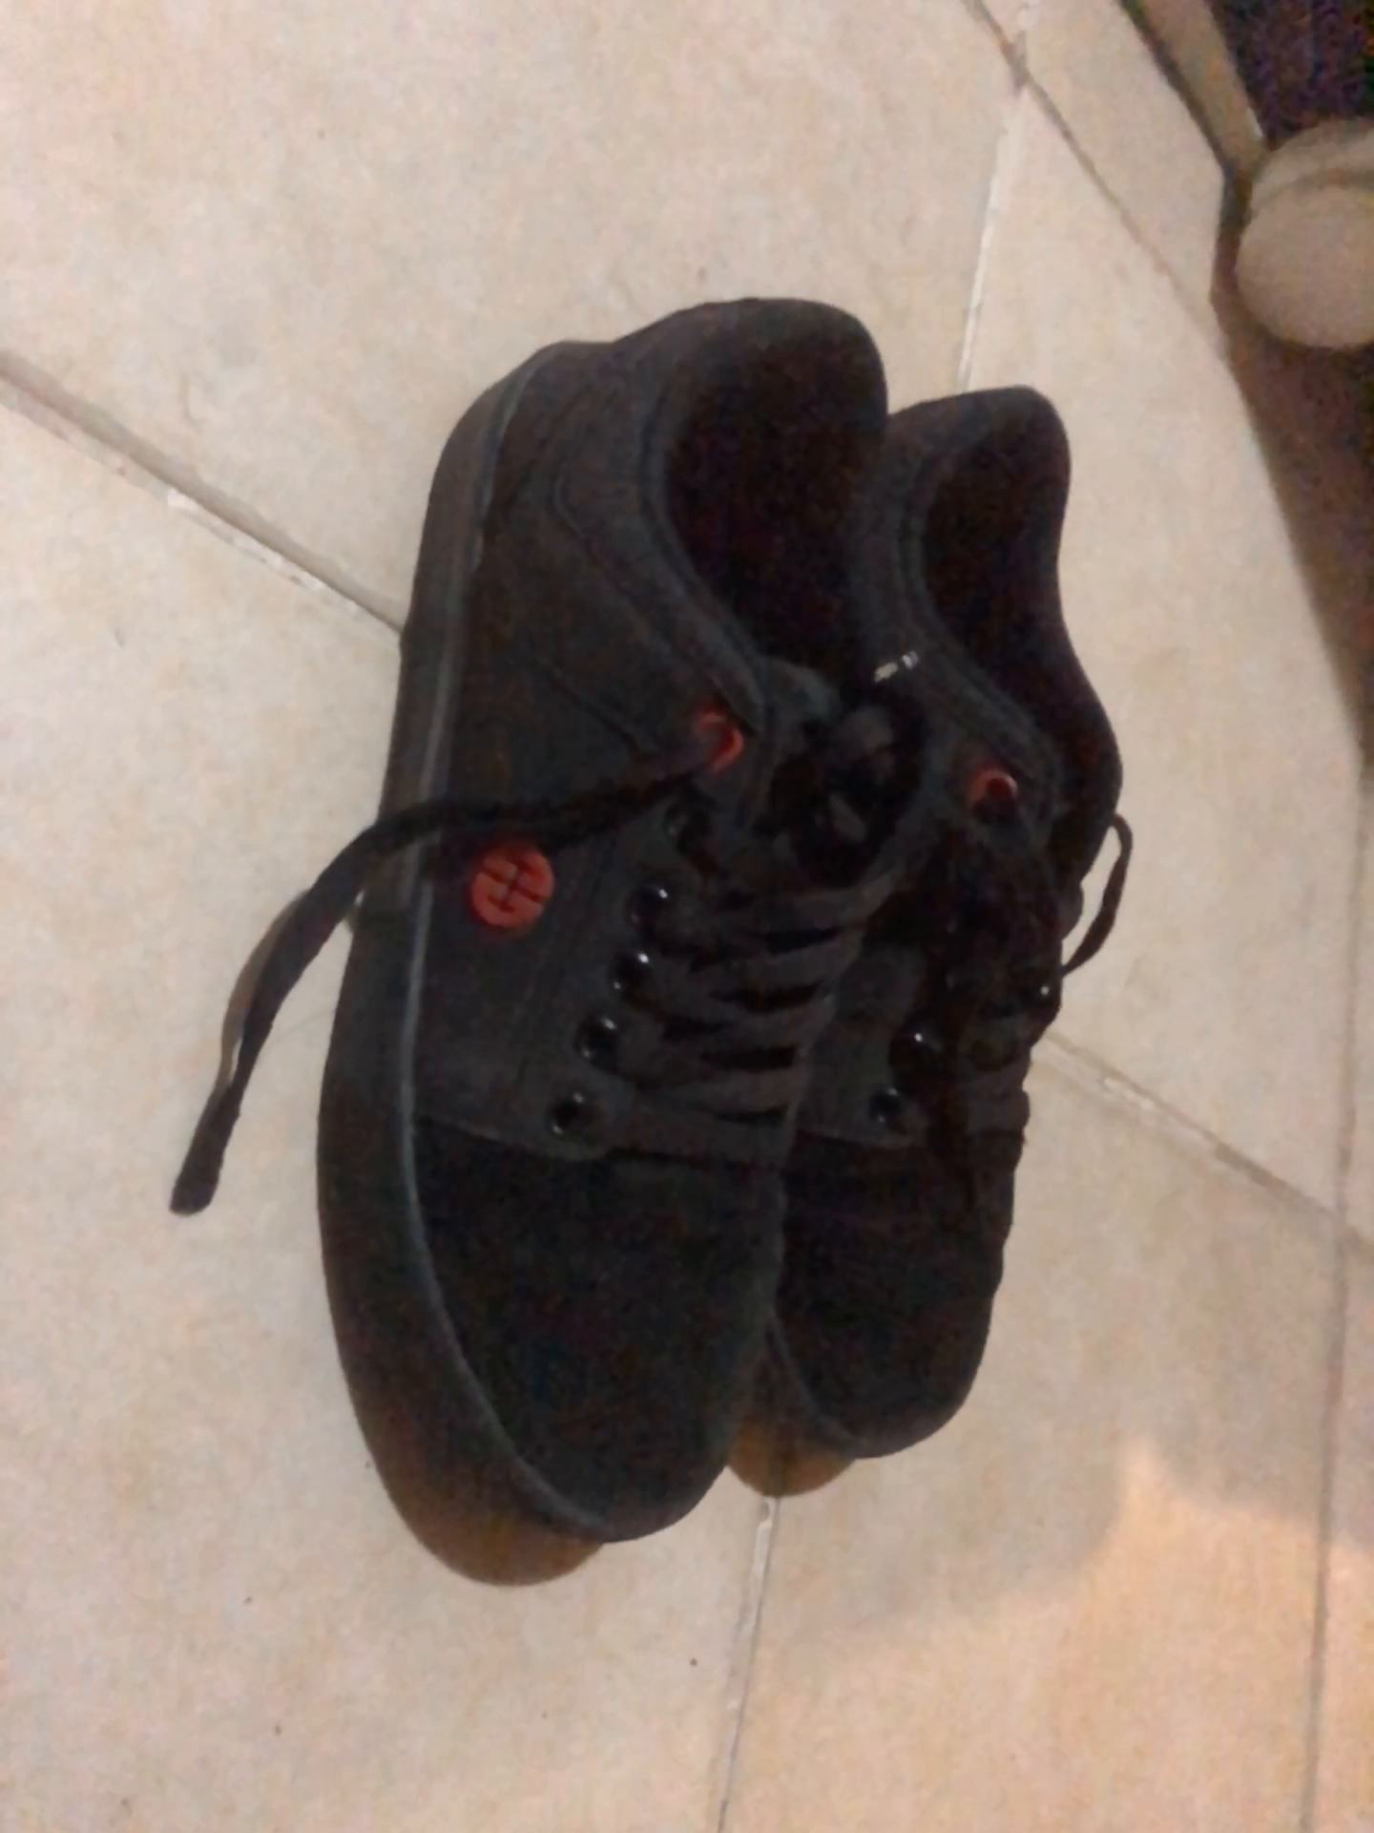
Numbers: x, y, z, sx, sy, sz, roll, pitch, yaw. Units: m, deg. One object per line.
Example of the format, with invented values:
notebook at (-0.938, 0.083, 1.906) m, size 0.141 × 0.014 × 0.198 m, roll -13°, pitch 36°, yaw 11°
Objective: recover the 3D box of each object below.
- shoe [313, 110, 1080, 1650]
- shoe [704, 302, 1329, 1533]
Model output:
shoe at (0.006, -0.004, 0.303) m, size 0.101 × 0.099 × 0.240 m, roll 12°, pitch 75°, yaw -45°
shoe at (0.076, 0.003, 0.365) m, size 0.101 × 0.099 × 0.240 m, roll 8°, pitch 79°, yaw -46°
